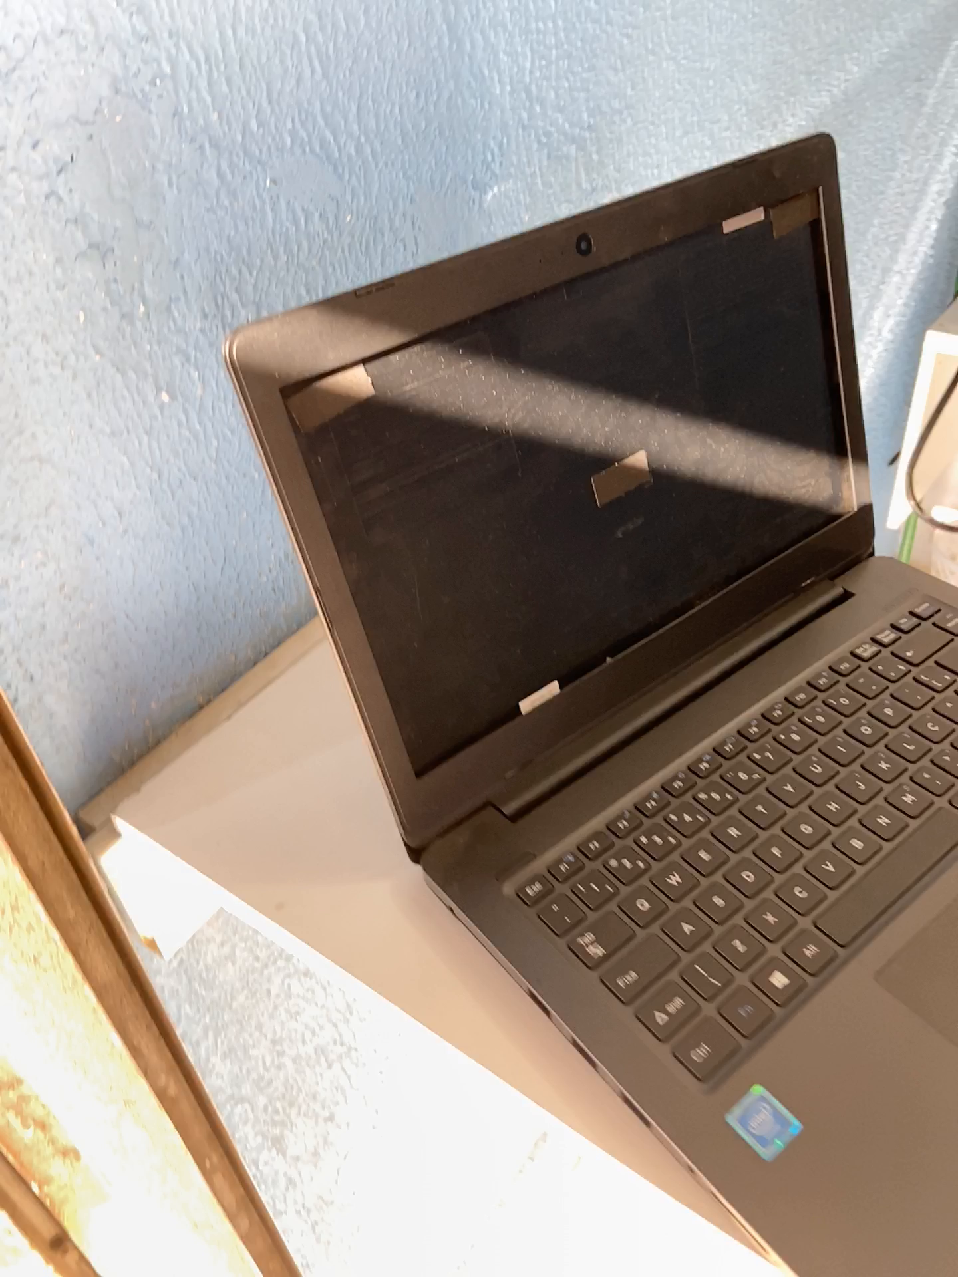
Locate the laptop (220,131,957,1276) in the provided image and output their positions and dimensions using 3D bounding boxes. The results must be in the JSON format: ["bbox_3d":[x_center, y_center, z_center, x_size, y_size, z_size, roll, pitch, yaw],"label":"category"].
[{"bbox_3d":[0.145,-0.023,0.384,0.339,0.214,0.310,-29,44,-26],"label":"laptop"}]
